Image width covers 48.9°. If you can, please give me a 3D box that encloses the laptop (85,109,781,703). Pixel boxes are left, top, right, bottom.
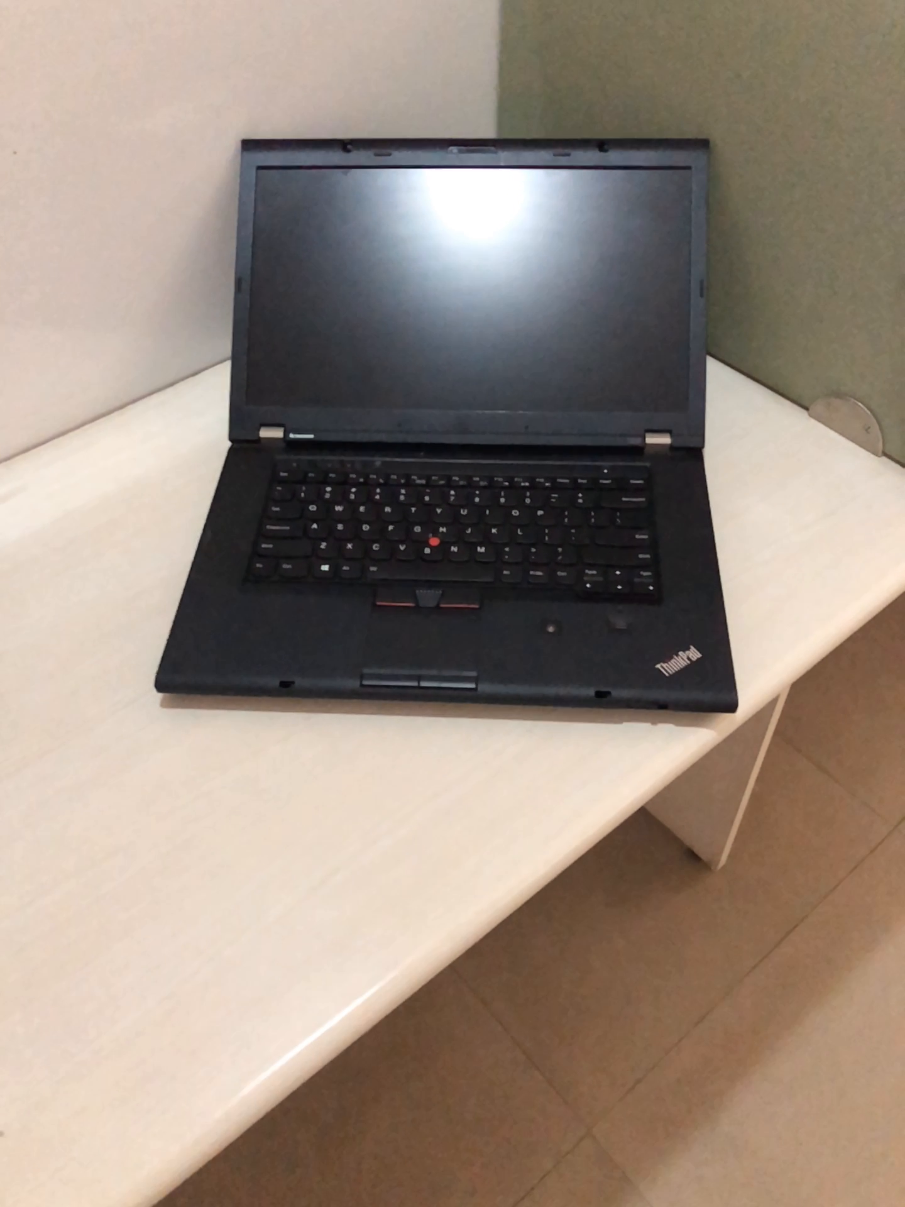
[{"bbox_3d":[0.004,-0.156,0.678,0.353,0.142,0.413,2,52,5],"label":"laptop"}]
